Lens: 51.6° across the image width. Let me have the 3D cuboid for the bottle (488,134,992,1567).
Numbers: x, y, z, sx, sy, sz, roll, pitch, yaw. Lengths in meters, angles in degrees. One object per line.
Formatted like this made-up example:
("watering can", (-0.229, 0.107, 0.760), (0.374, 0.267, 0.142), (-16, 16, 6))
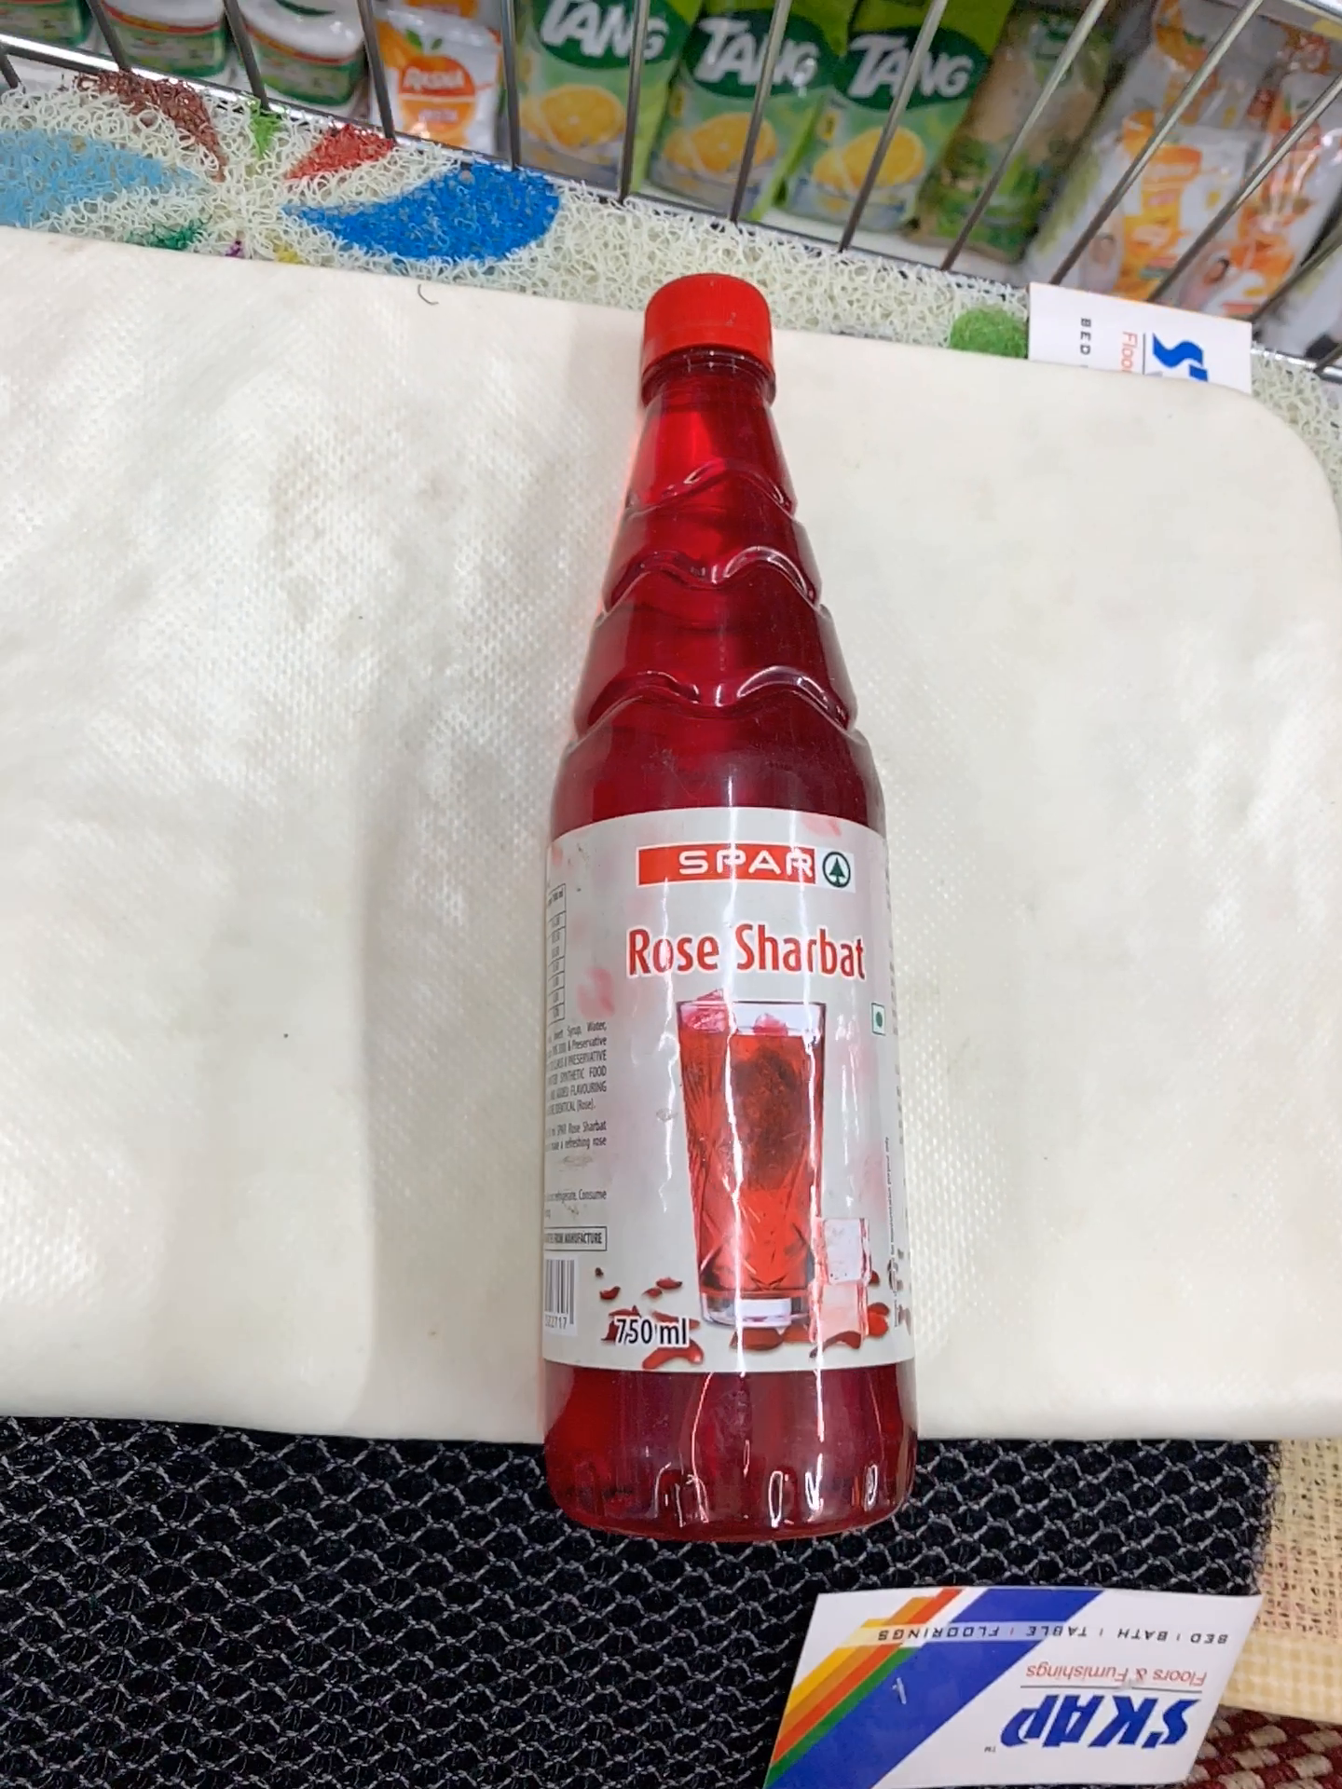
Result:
("bottle", (0.005, -0.011, 0.255), (0.070, 0.070, 0.230), (1, 77, -9))
